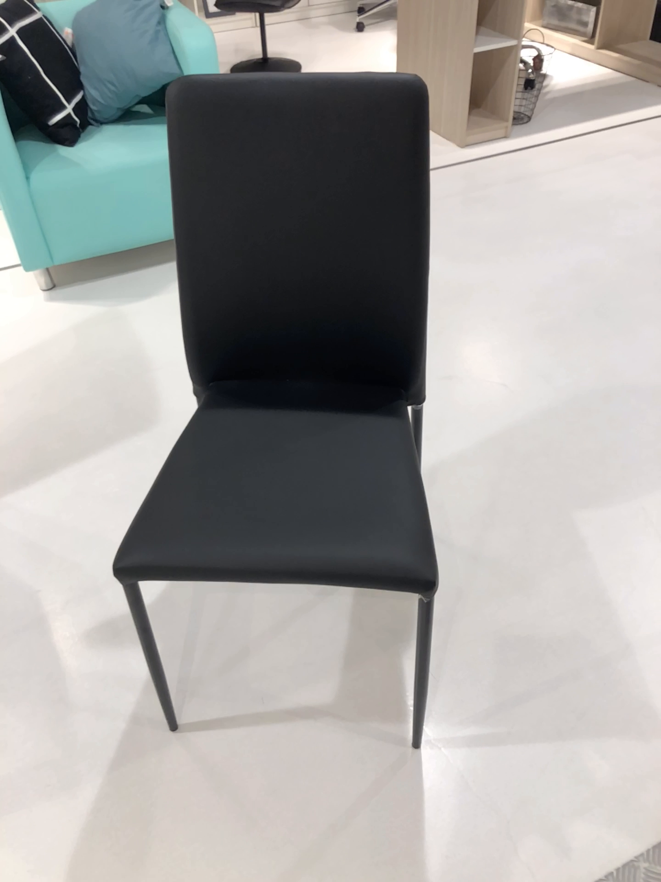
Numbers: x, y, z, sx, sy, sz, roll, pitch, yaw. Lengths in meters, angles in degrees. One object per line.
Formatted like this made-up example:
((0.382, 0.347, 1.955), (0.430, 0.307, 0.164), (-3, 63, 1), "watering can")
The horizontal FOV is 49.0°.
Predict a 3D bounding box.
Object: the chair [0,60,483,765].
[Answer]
((-0.063, -0.015, 1.102), (0.450, 0.864, 0.604), (1, 42, 5), "chair")
